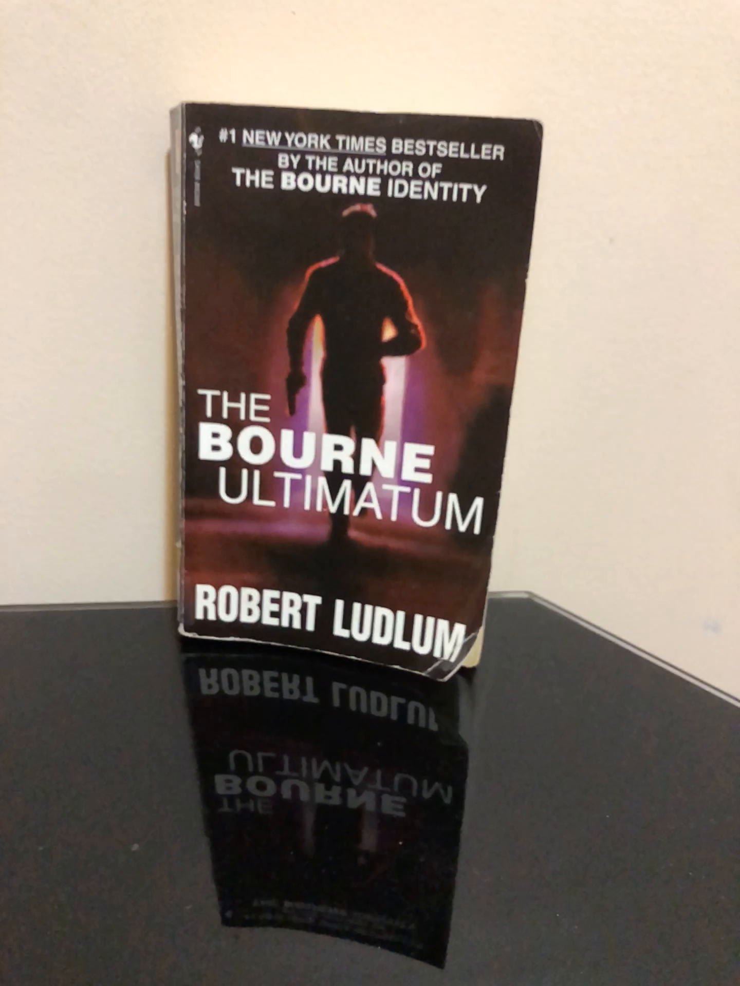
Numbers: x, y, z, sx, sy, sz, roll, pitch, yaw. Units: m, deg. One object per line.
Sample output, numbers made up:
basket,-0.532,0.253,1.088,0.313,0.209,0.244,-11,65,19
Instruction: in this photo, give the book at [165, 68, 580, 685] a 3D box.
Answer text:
book,-0.002,-0.038,0.296,0.120,0.189,0.070,3,14,2
